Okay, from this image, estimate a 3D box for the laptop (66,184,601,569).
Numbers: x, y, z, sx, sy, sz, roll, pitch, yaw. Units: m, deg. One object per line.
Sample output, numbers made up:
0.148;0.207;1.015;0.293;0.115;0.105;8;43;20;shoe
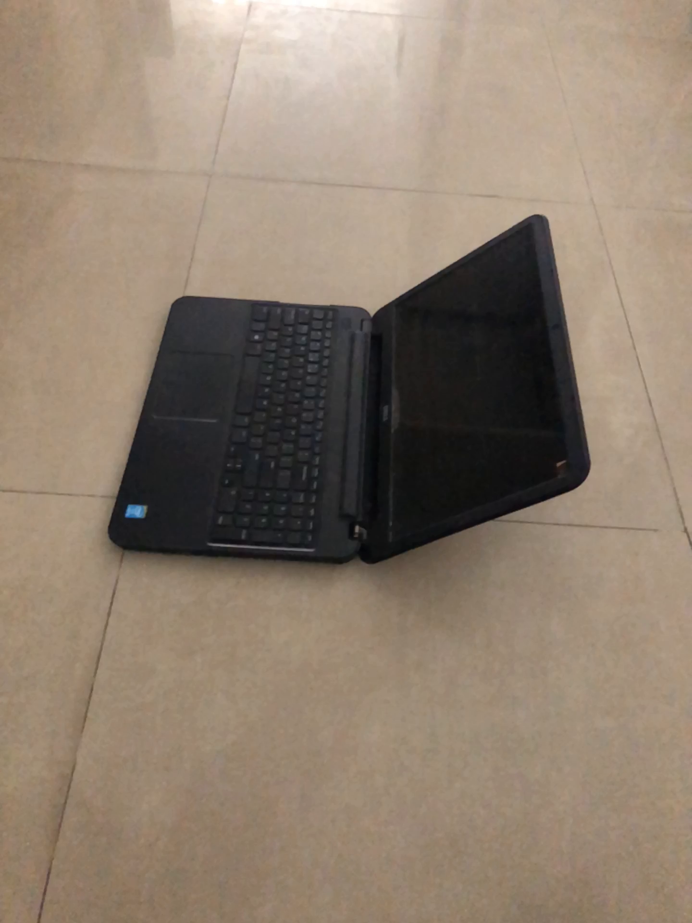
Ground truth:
-0.005;-0.098;0.782;0.427;0.164;0.359;3;53;0;laptop
